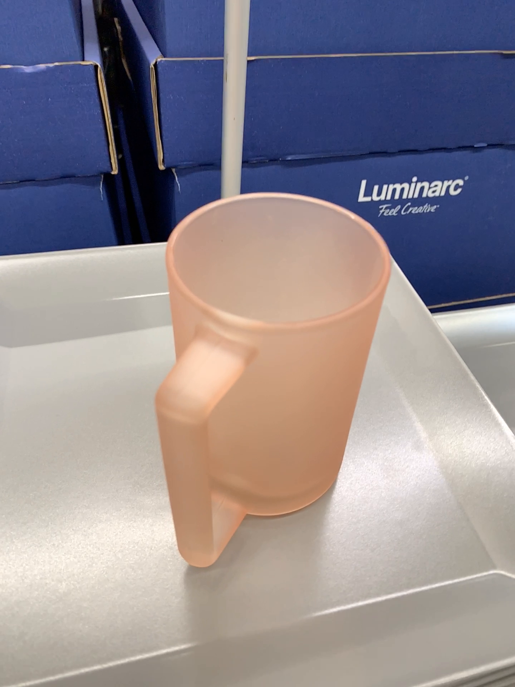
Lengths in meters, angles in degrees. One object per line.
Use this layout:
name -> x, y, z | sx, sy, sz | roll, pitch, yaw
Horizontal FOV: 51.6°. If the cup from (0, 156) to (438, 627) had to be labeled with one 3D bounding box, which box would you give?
cup -> -0.008, 0.007, 0.200 | 0.095, 0.095, 0.120 | 22, 46, 21
